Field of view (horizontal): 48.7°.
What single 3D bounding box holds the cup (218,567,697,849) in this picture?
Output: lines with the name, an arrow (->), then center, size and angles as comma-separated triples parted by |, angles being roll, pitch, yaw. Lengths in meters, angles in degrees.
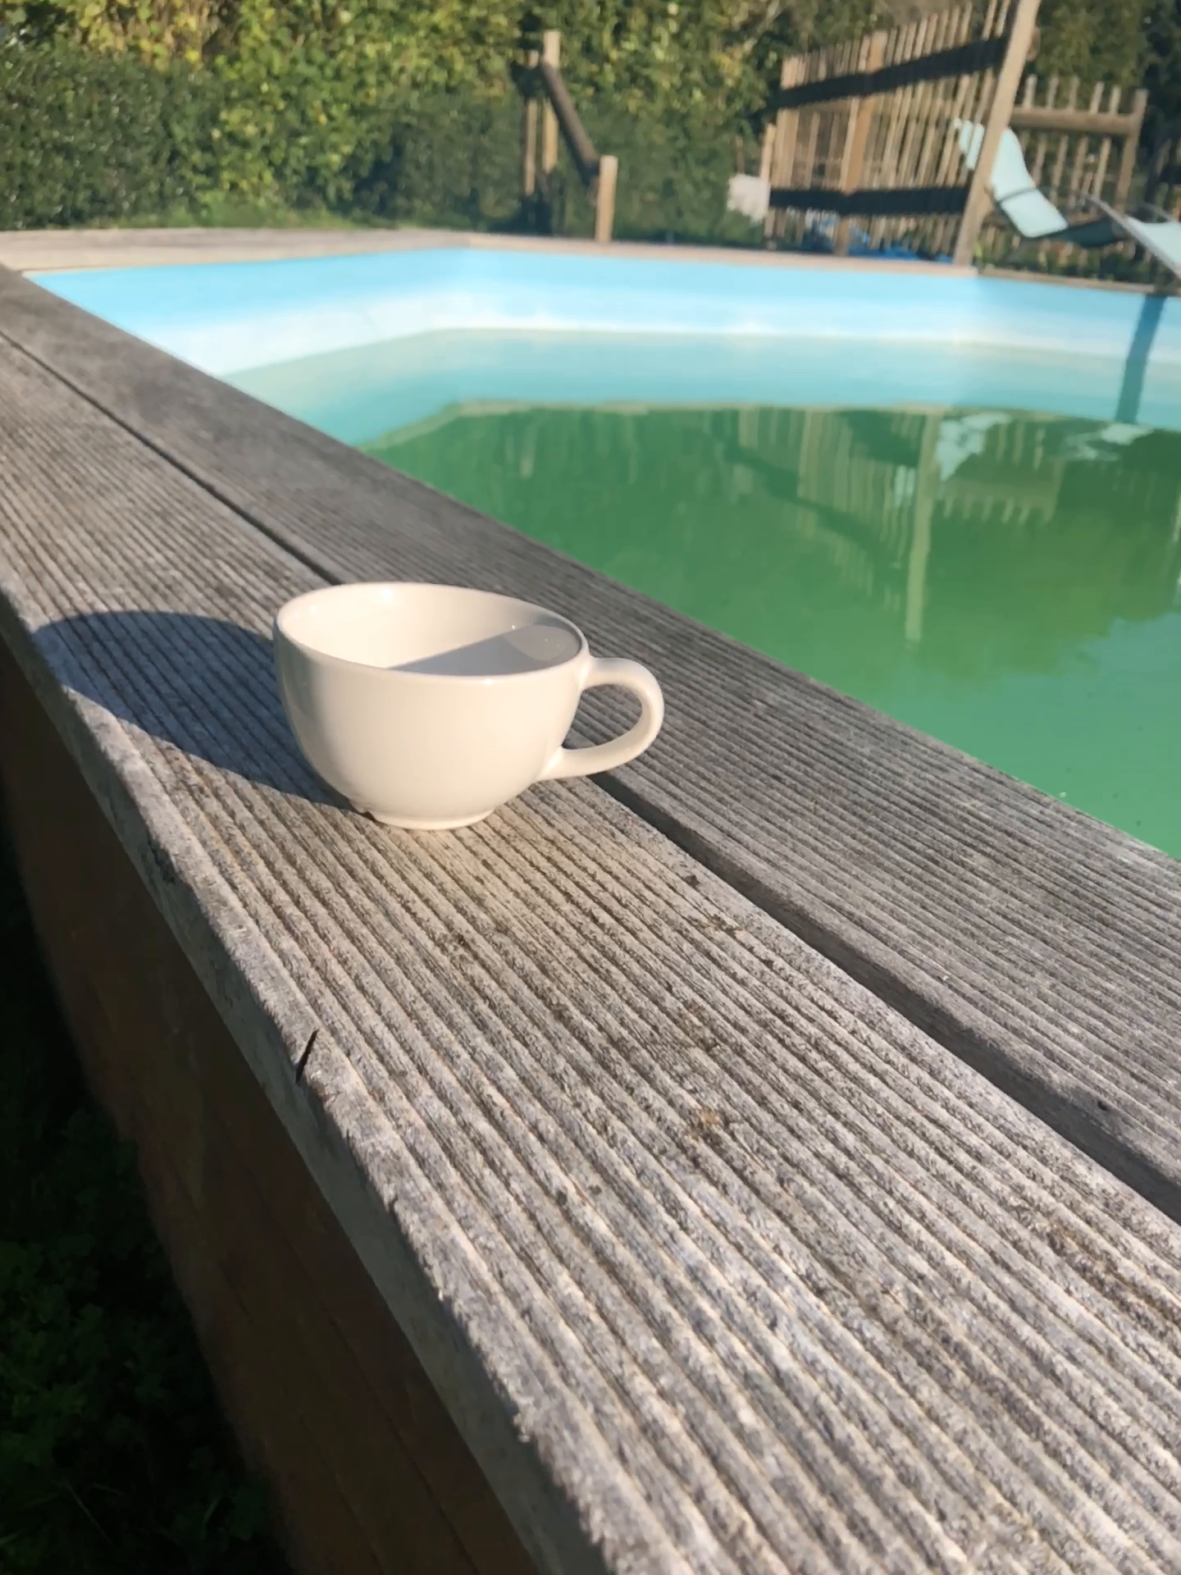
cup -> -0.032, -0.028, 0.382 | 0.120, 0.038, 0.105 | 5, 24, 1
